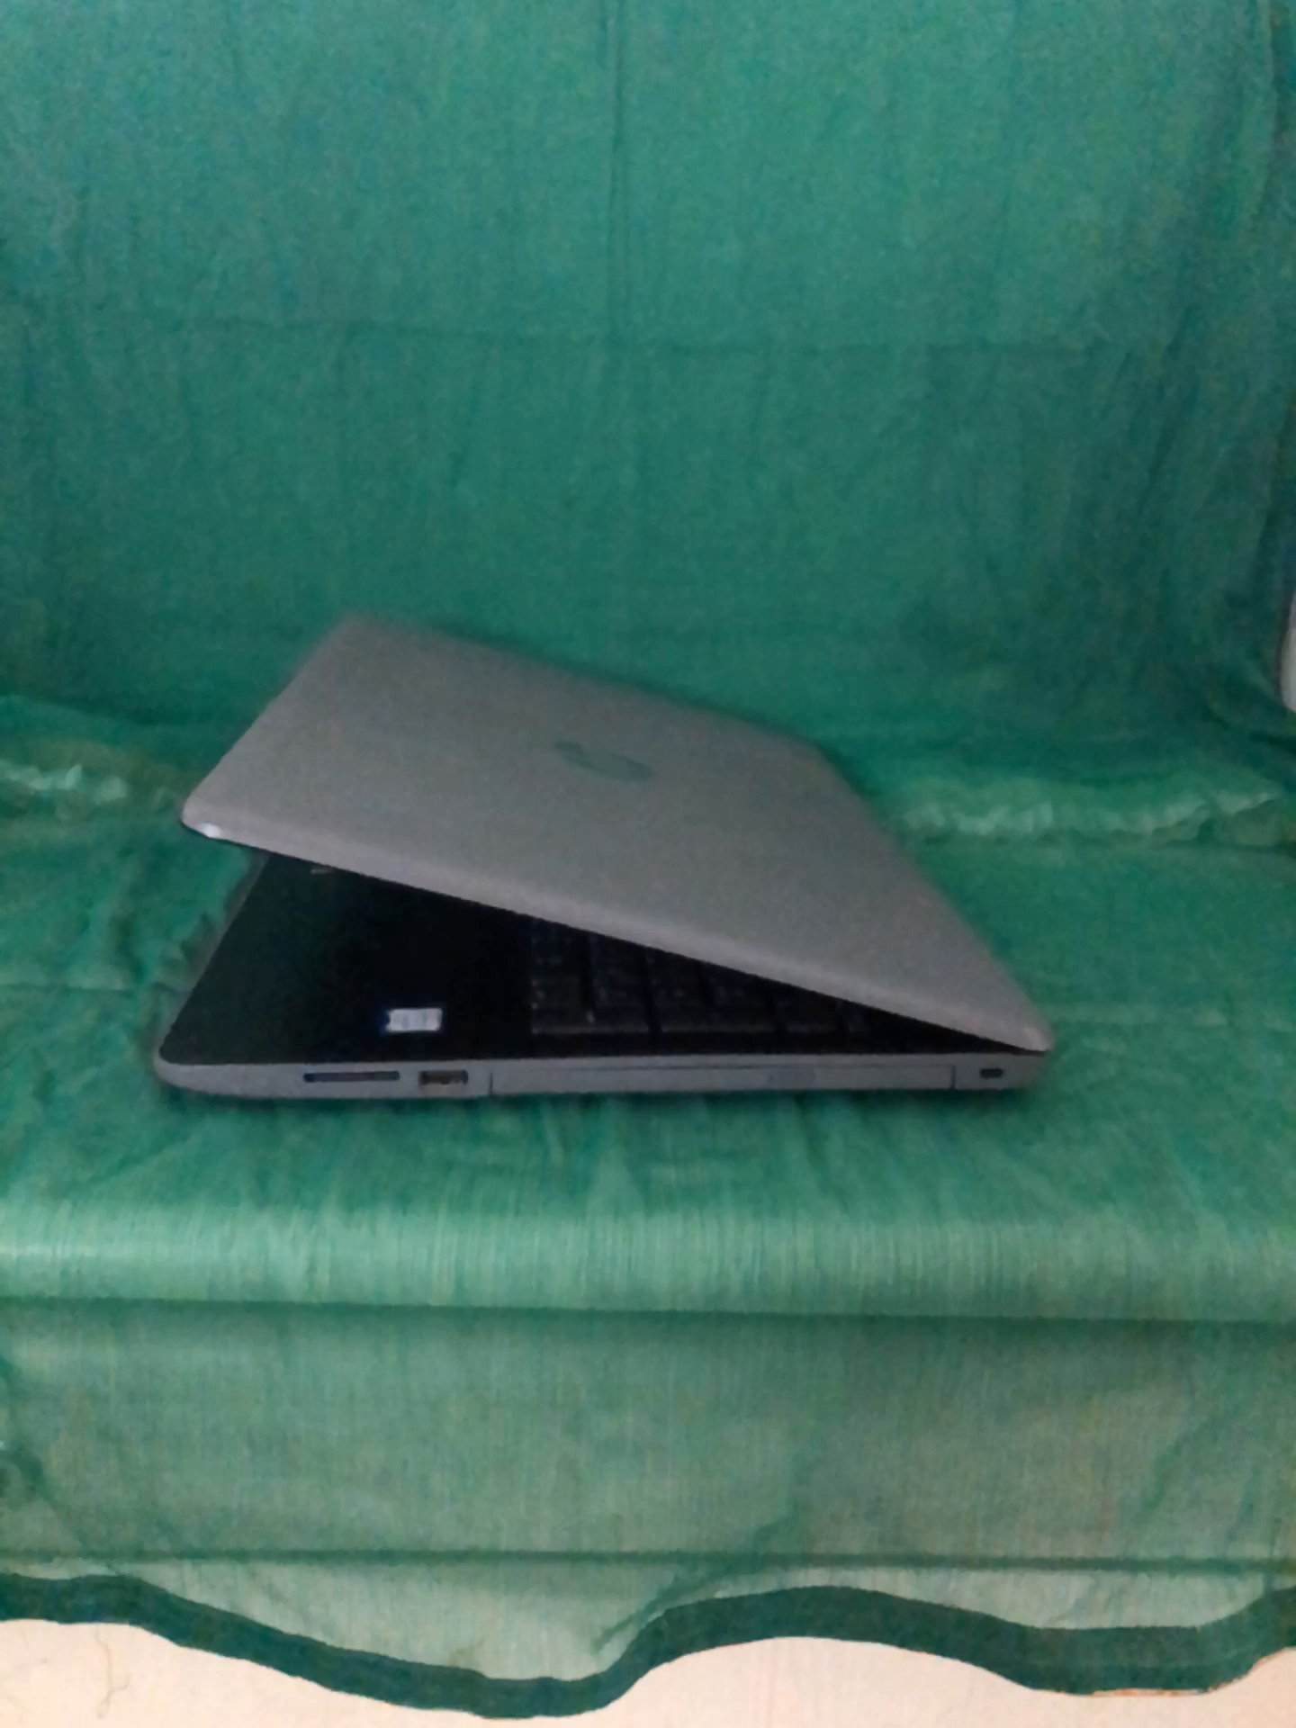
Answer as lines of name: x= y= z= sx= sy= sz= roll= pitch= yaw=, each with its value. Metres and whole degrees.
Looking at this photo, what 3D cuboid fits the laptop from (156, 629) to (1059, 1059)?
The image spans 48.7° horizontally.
laptop: x=-0.021 y=-0.031 z=0.547 sx=0.231 sy=0.067 sz=0.360 roll=1 pitch=16 yaw=-4
